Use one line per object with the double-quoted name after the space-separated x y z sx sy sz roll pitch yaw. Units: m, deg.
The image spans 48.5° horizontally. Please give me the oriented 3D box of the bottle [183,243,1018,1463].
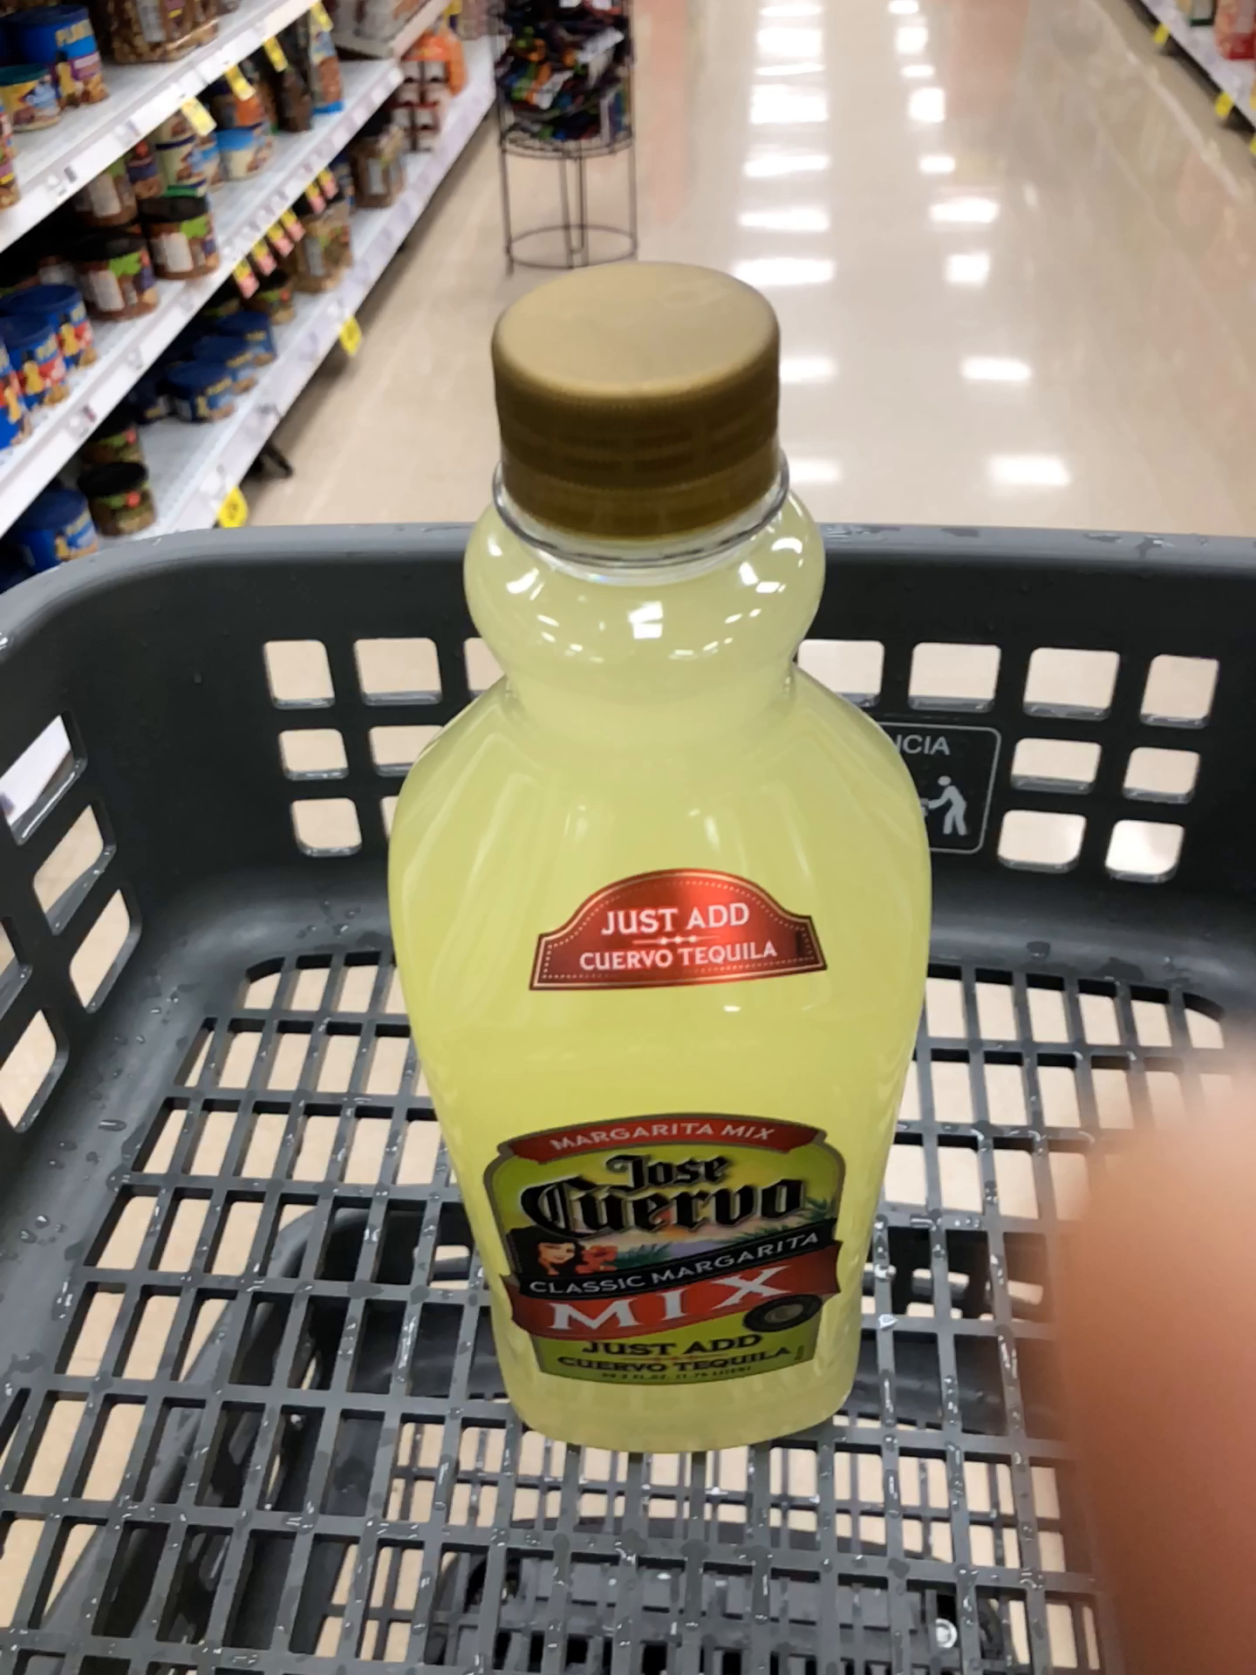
0.001 0.030 0.304 0.110 0.279 0.080 -2 41 1 "bottle"
